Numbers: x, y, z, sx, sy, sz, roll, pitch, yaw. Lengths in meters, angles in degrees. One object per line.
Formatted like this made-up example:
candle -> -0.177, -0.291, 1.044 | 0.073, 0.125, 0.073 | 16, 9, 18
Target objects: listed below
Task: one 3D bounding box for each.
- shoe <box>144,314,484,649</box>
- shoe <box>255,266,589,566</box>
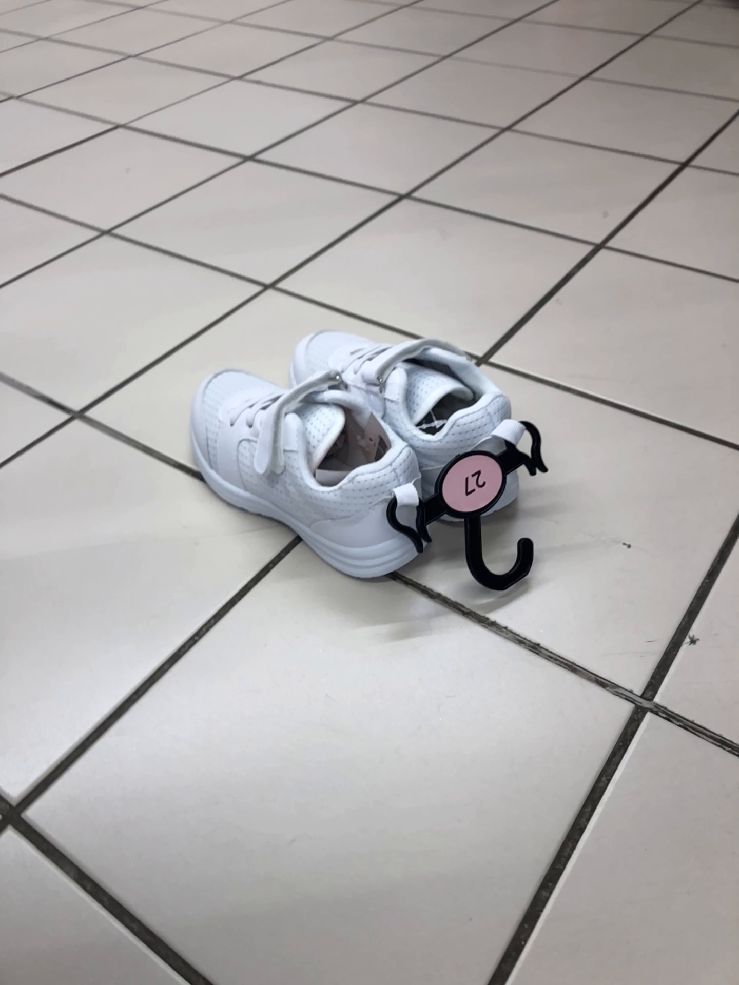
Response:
shoe -> -0.036, -0.017, 0.472 | 0.080, 0.080, 0.200 | -32, 50, -27
shoe -> 0.024, -0.057, 0.505 | 0.080, 0.080, 0.200 | -32, 50, -27
